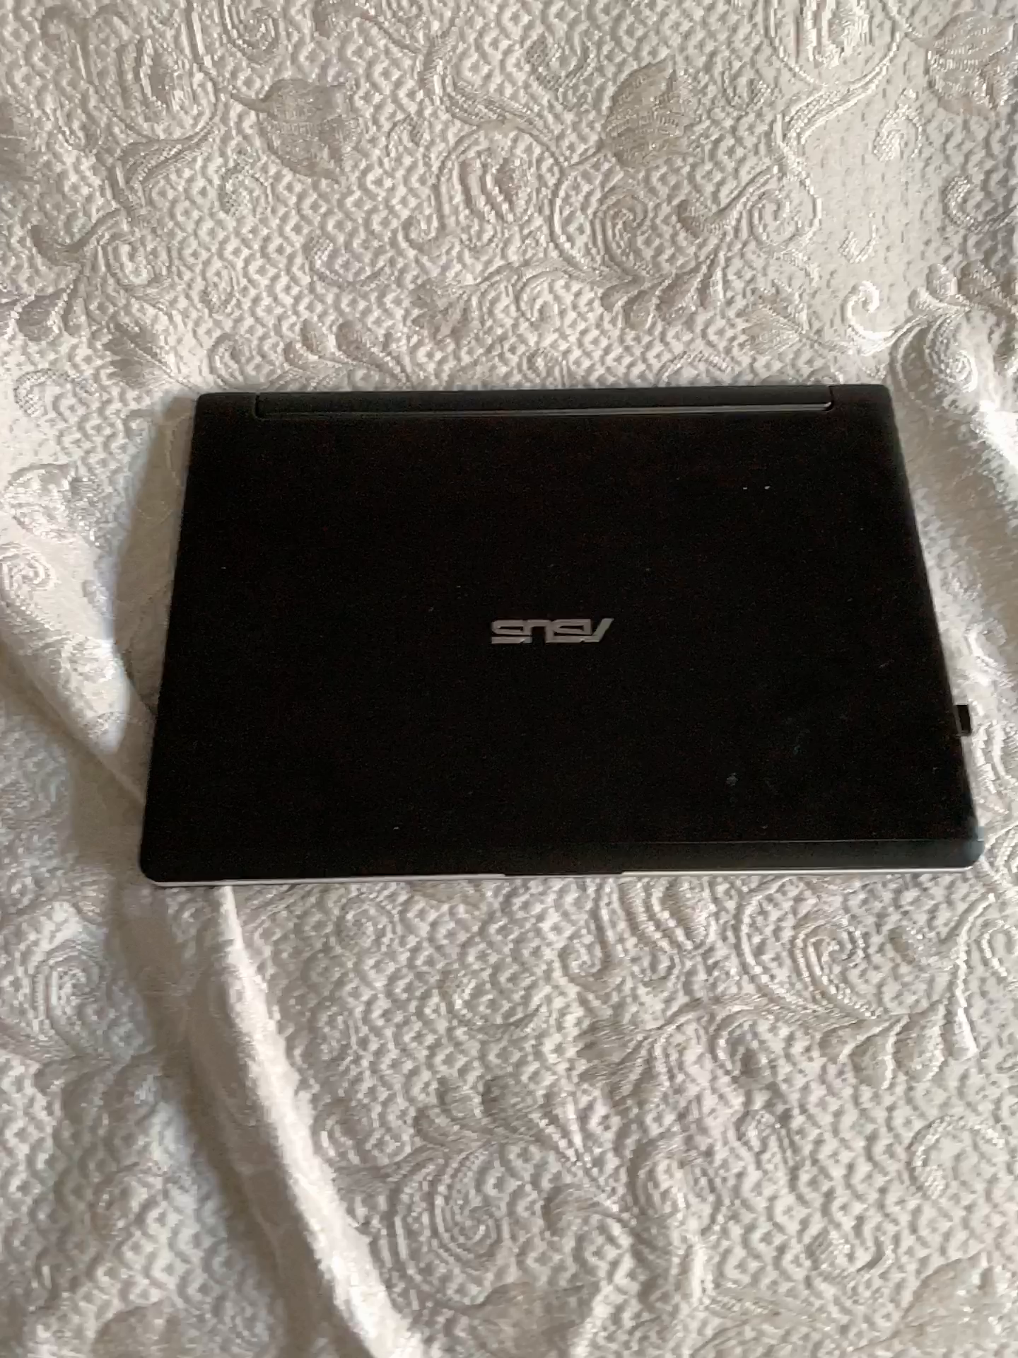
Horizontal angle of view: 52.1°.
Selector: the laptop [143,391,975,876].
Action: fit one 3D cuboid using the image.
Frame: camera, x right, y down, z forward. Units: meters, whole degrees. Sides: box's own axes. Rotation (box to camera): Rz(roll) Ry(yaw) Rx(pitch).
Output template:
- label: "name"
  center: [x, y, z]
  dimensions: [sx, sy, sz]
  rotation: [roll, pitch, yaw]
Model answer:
- label: "laptop"
  center: [0.020, -0.032, 0.462]
  dimensions: [0.333, 0.001, 0.232]
  rotation: [-1, 67, -2]
